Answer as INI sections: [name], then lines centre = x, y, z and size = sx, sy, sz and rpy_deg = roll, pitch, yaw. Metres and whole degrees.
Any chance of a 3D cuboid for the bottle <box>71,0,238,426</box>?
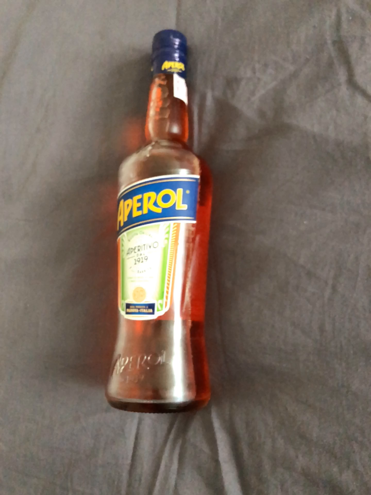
[bottle]
centre = -0.018, -0.041, 0.332
size = 0.100, 0.070, 0.320
rpy_deg = -4, 79, 28
